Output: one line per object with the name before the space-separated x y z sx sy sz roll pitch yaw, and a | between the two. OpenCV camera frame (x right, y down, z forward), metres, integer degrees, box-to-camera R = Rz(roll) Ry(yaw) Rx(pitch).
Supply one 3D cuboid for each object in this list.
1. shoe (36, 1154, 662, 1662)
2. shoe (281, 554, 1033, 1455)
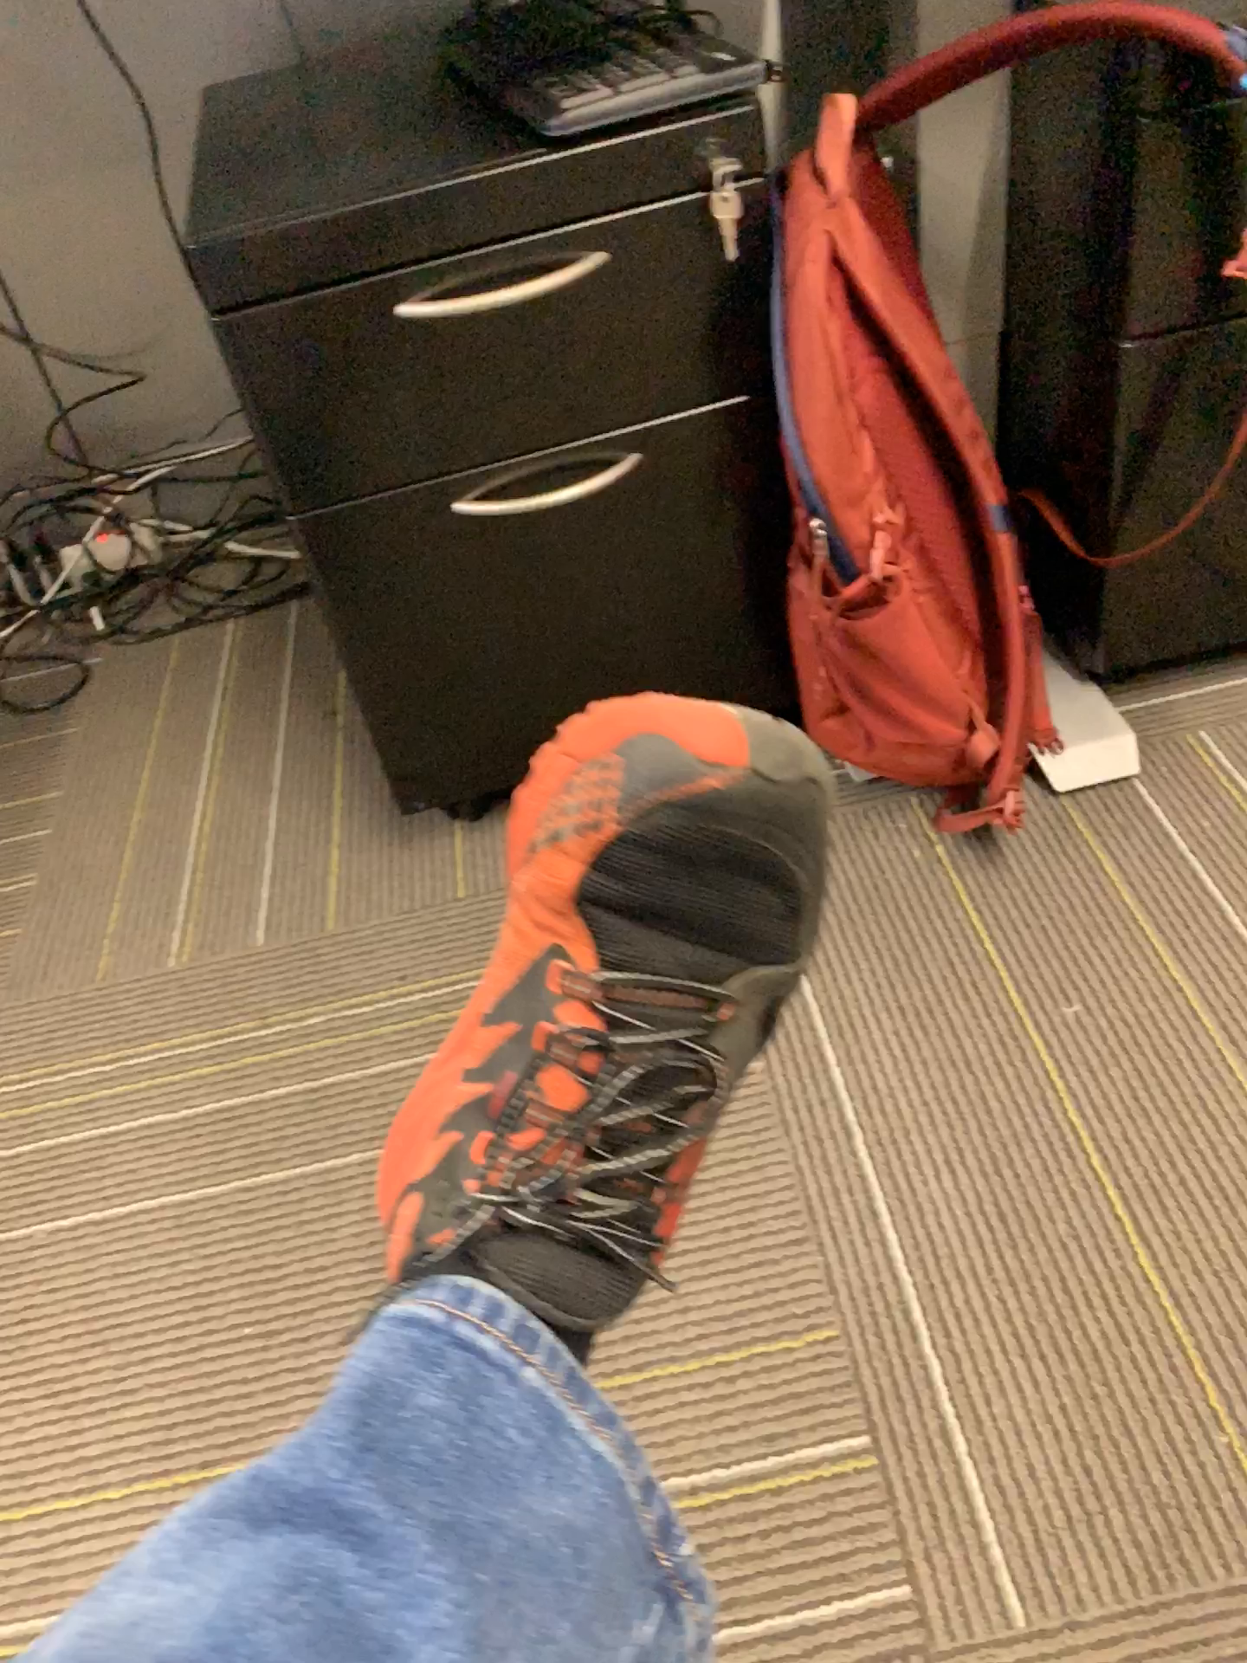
shoe | -0.128 0.314 0.603 0.129 0.135 0.289 30 96 37
shoe | -0.020 0.081 0.458 0.117 0.303 0.143 11 39 -26
